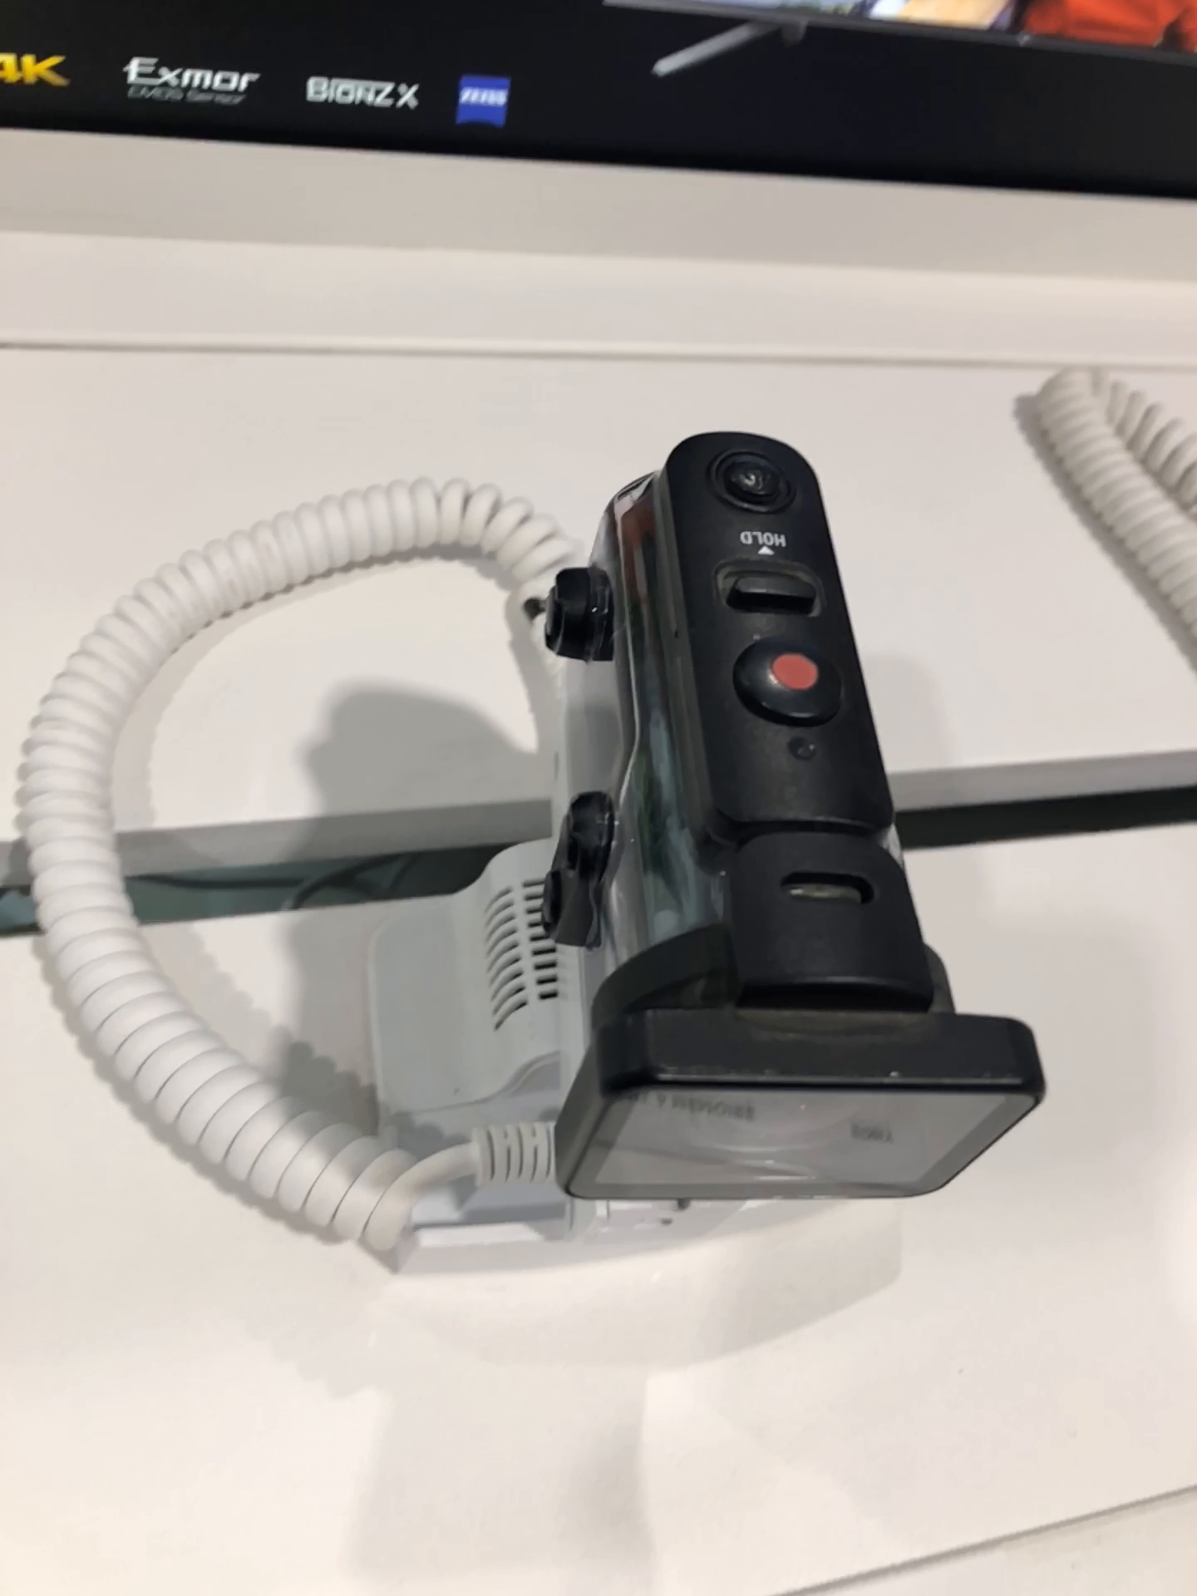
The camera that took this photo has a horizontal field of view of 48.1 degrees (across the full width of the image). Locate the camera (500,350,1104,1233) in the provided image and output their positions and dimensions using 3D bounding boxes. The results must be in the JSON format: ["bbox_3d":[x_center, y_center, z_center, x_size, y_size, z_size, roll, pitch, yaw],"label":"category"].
[{"bbox_3d":[0.016,0.003,0.165,0.045,0.064,0.088,2,65,-12],"label":"camera"}]
